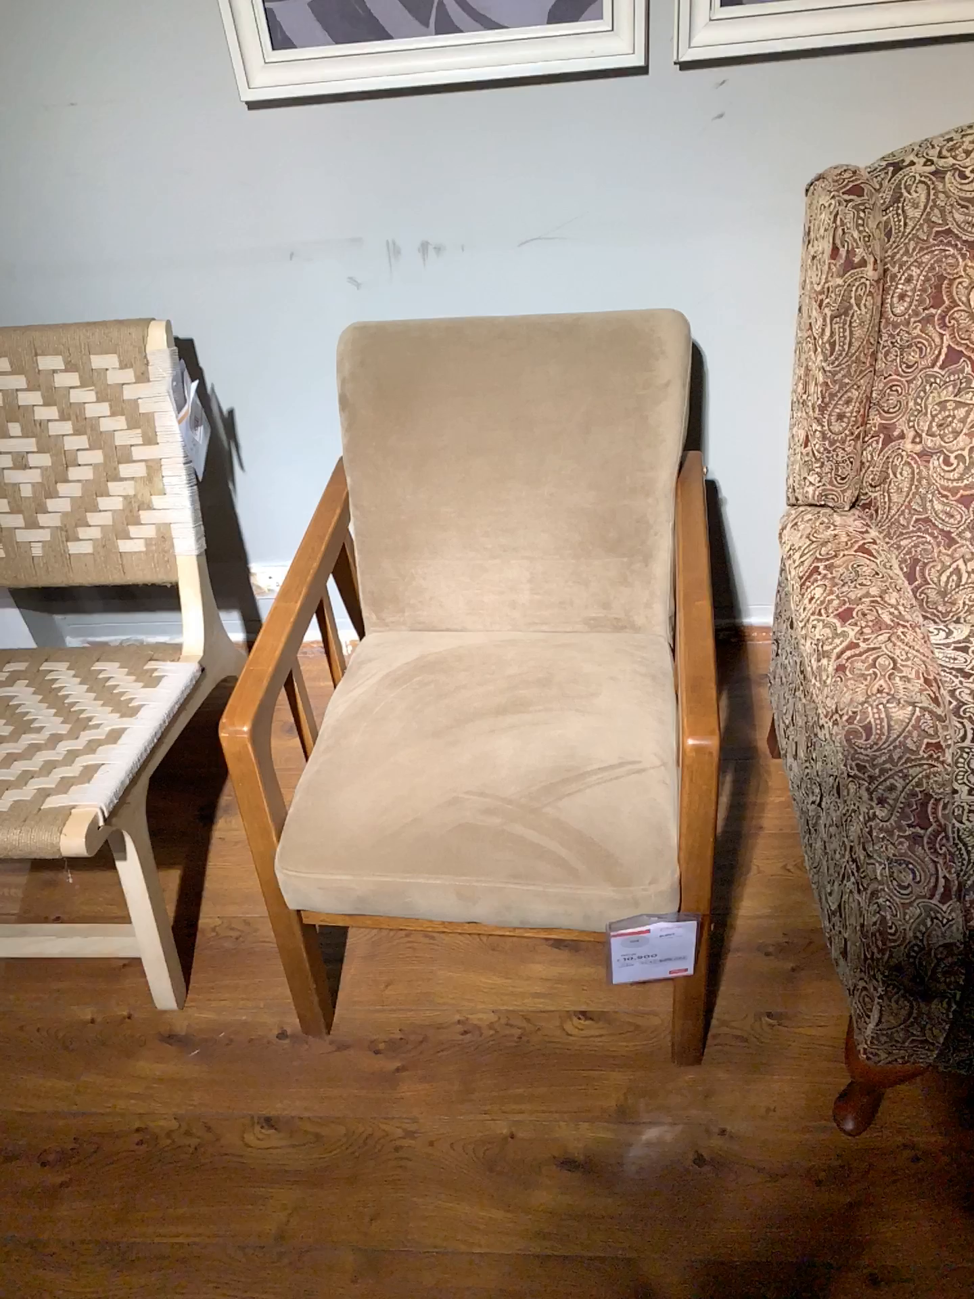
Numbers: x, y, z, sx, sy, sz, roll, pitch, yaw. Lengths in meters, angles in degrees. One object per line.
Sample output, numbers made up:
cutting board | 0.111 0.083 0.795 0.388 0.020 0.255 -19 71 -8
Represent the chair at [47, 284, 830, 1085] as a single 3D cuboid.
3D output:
chair | 0.018 0.012 1.457 0.720 0.737 0.873 1 41 8
